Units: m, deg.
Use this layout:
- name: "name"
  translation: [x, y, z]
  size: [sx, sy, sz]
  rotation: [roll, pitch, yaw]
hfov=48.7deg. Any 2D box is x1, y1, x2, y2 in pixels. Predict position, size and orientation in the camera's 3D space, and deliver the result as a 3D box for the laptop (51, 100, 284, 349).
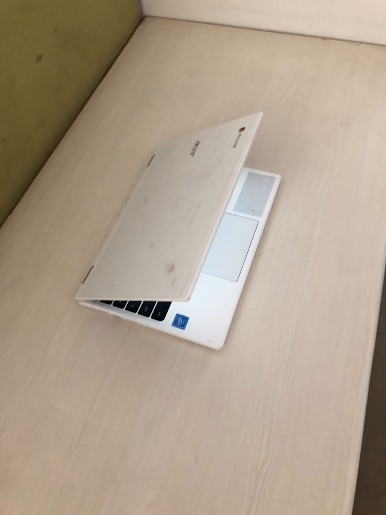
- name: "laptop"
  translation: [-0.013, -0.059, 0.570]
  size: [0.196, 0.105, 0.291]
  rotation: [15, 60, 13]
